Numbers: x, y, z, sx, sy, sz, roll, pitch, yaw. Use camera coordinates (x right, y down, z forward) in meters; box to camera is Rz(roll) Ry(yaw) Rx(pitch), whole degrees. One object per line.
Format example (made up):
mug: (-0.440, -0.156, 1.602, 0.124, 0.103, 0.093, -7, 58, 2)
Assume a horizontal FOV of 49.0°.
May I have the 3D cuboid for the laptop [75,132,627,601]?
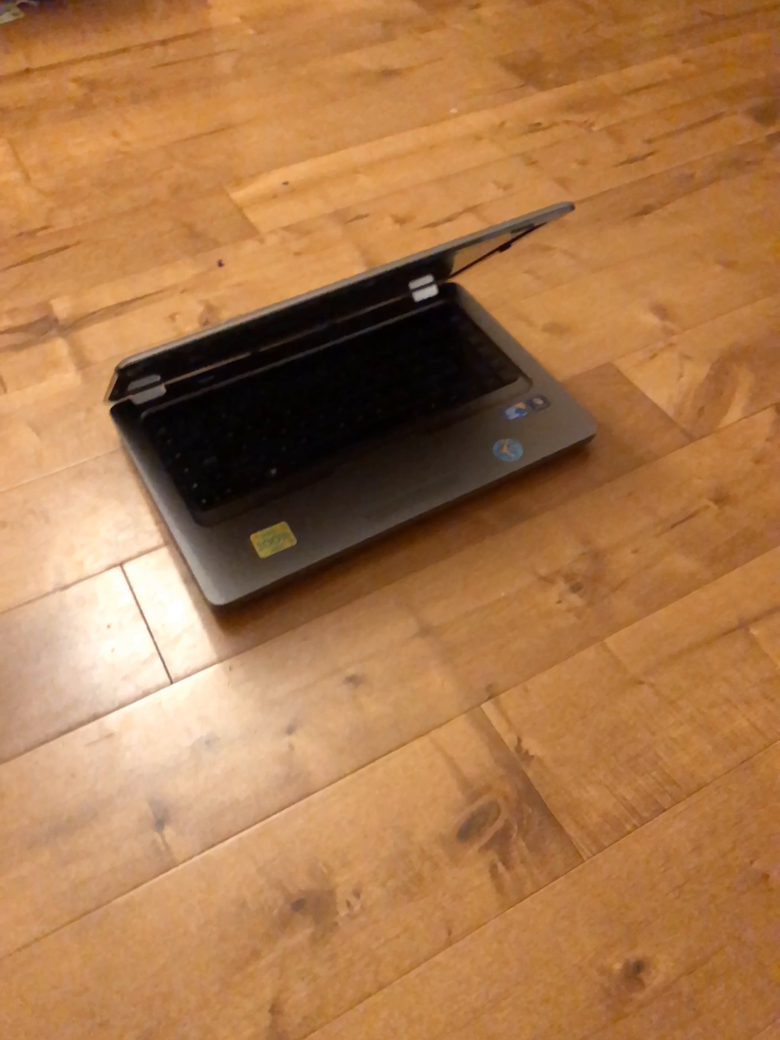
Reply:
laptop: (-0.029, -0.138, 0.693, 0.346, 0.164, 0.224, -25, 56, -19)
